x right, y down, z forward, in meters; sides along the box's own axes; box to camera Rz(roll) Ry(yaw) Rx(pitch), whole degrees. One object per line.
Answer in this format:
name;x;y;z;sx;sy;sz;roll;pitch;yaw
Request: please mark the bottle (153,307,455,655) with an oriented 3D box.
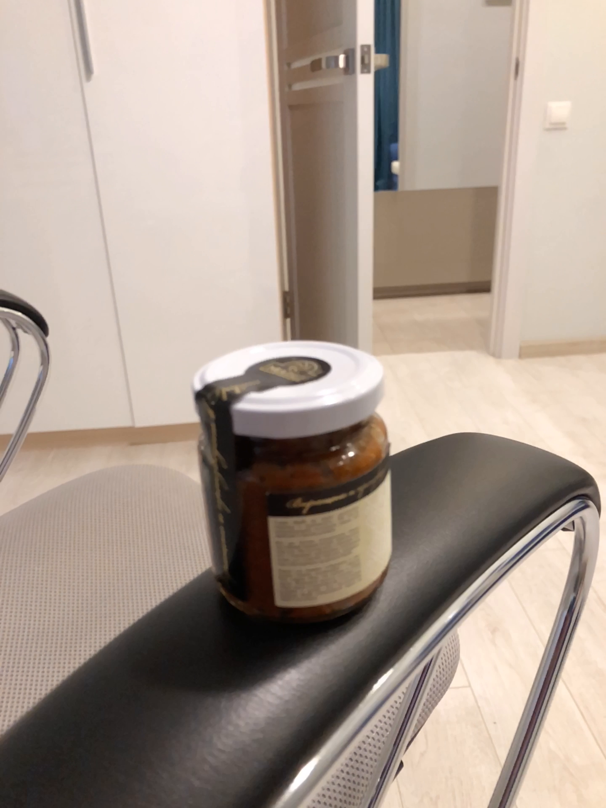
bottle;0.000;0.016;0.199;0.060;0.070;0.060;-19;28;-34
